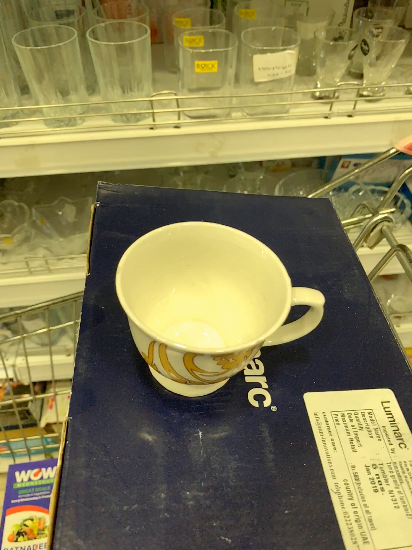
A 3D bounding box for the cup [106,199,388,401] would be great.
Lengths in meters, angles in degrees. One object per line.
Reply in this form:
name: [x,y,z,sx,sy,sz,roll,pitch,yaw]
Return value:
cup: [0.011,0.008,0.173,0.090,0.040,0.070,1,47,-5]
